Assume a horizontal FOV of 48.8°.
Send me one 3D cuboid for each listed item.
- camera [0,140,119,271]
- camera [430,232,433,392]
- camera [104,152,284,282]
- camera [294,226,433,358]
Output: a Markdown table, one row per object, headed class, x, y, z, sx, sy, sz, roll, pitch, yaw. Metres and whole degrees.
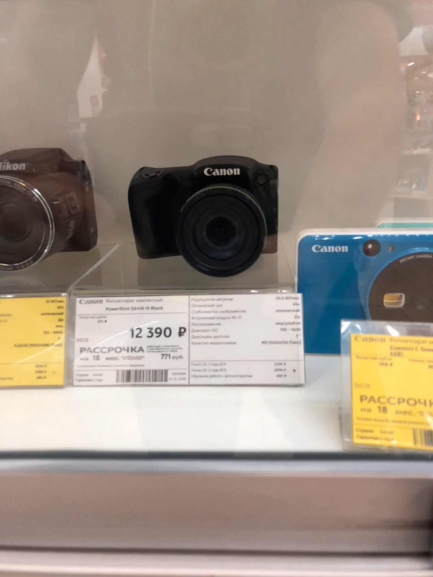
| class | x | y | z | sx | sy | sz | roll | pitch | yaw |
| --- | --- | --- | --- | --- | --- | --- | --- | --- | --- |
| camera | -0.131 | -0.060 | 0.322 | 0.100 | 0.073 | 0.093 | 0 | 17 | 5 |
| camera | 0.178 | 0.011 | 0.243 | 0.118 | 0.073 | 0.028 | 0 | 17 | 8 |
| camera | -0.008 | -0.052 | 0.318 | 0.100 | 0.070 | 0.093 | 0 | 17 | 5 |
| camera | 0.107 | 0.001 | 0.291 | 0.118 | 0.073 | 0.028 | 0 | 17 | 8 |
